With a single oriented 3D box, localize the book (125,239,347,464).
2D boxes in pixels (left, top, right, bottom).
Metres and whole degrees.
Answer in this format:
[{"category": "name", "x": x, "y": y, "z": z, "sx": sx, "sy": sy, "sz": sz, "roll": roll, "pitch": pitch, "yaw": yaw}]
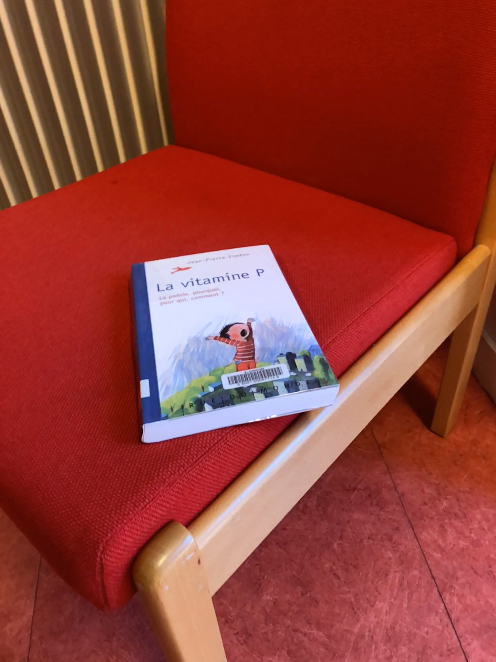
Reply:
[{"category": "book", "x": -0.024, "y": 0.001, "z": 0.463, "sx": 0.147, "sy": 0.027, "sz": 0.216, "roll": -11, "pitch": 41, "yaw": -7}]
